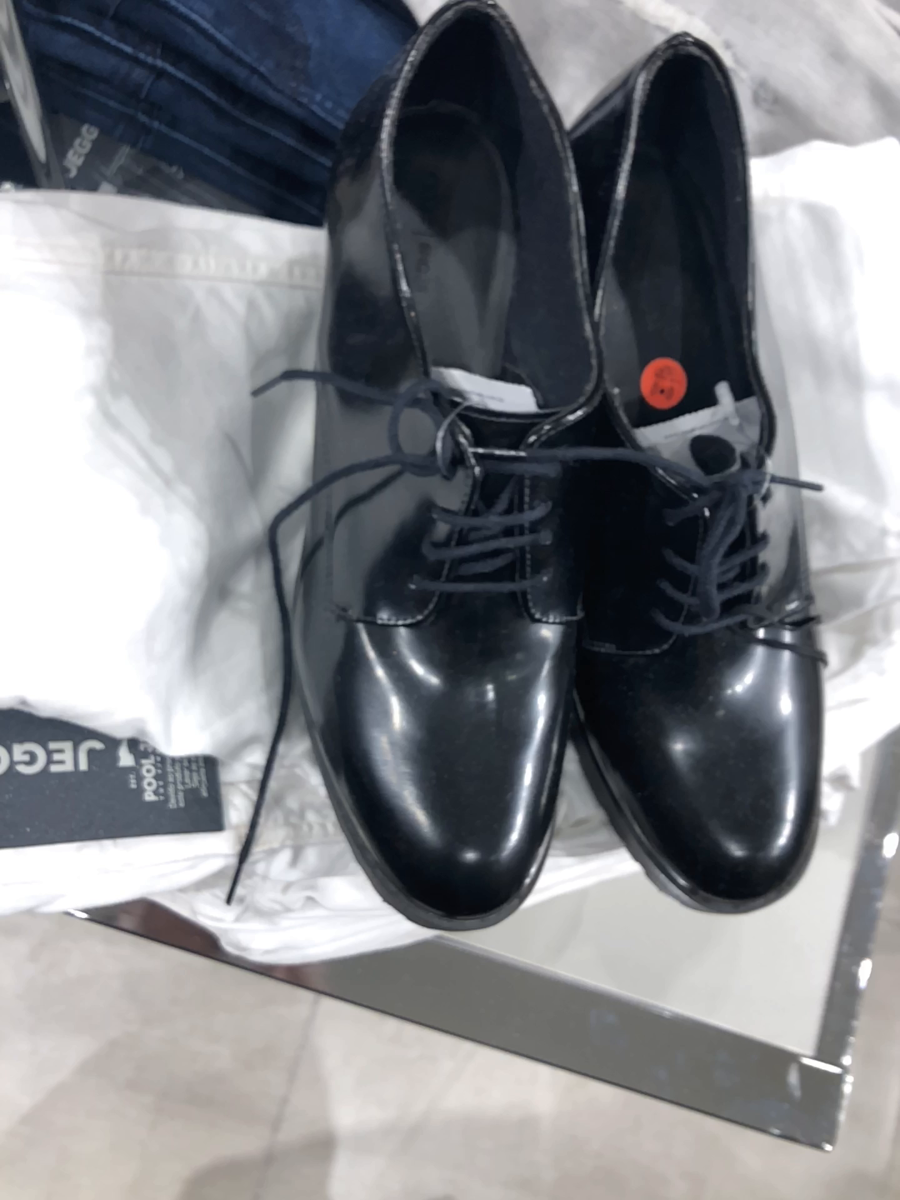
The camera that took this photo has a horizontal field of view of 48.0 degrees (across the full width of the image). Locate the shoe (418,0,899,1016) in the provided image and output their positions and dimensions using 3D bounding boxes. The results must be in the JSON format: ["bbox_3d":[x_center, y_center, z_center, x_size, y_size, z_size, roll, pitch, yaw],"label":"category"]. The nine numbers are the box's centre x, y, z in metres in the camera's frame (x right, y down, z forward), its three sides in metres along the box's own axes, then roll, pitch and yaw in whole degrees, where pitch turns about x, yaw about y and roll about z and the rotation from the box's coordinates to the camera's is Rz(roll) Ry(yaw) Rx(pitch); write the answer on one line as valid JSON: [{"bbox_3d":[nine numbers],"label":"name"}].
[{"bbox_3d":[0.073,-0.027,0.321,0.100,0.150,0.260,-11,76,-9],"label":"shoe"}]

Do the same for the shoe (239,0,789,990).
[{"bbox_3d":[-0.002,-0.031,0.314,0.100,0.160,0.260,-4,75,-8],"label":"shoe"}]
